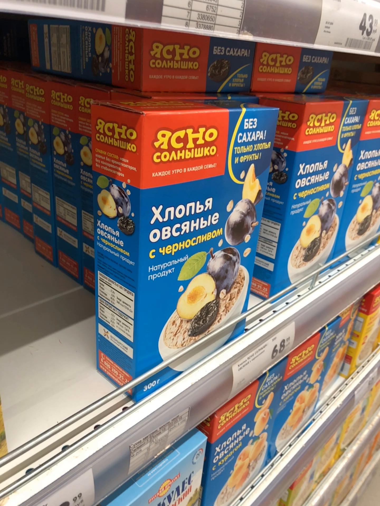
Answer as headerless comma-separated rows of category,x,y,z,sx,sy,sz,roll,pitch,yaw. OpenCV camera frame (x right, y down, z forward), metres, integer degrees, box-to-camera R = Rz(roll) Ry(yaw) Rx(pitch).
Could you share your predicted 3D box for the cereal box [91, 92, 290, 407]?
cereal box,0.000,-0.010,0.325,0.050,0.209,0.140,25,32,38
